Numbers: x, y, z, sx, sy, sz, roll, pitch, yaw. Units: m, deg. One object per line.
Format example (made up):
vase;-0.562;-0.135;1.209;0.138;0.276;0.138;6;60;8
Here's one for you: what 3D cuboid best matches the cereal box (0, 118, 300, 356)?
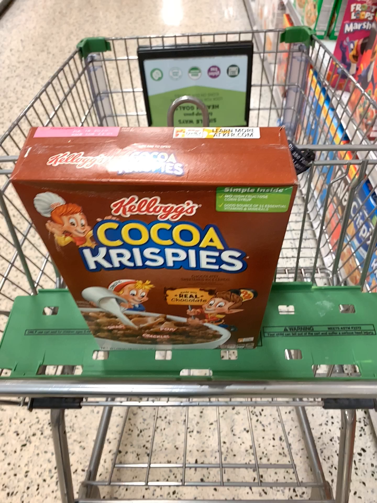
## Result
cereal box;-0.021;0.018;0.392;0.200;0.307;0.061;0;55;4
